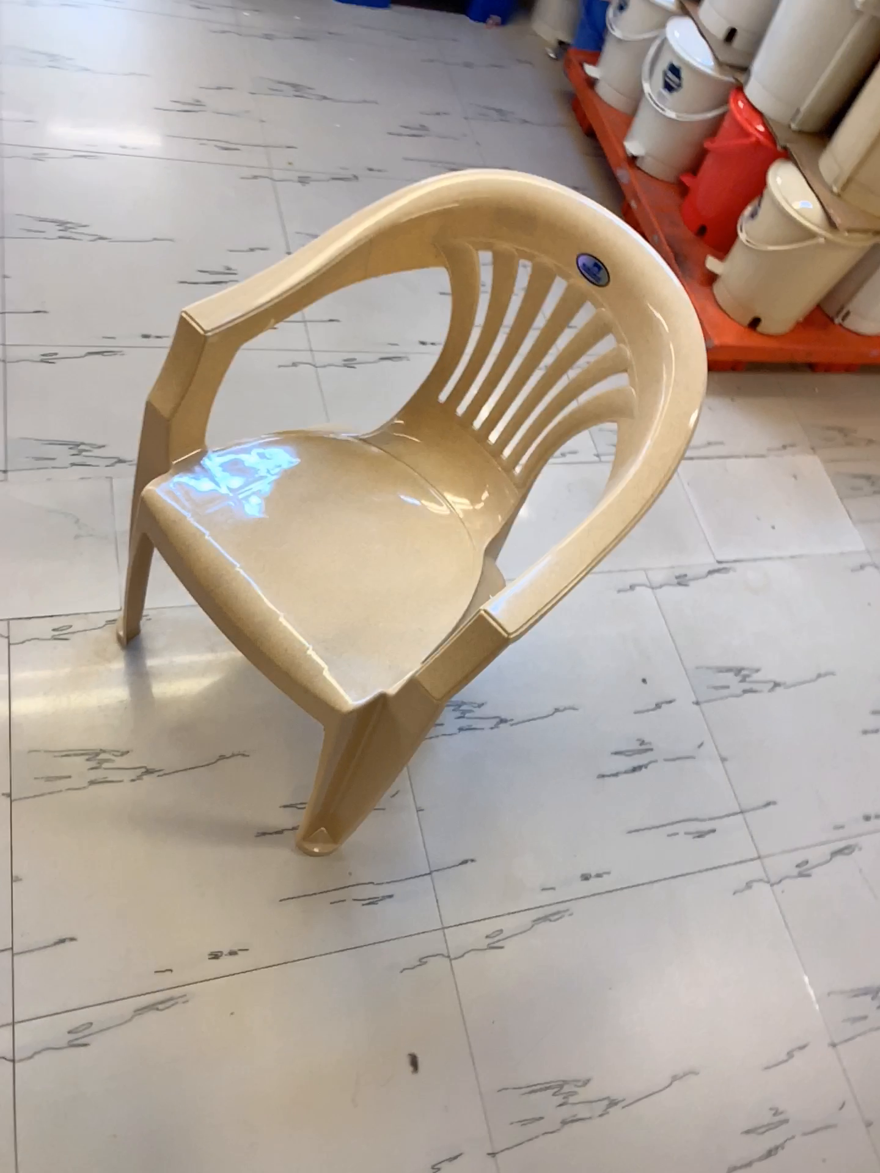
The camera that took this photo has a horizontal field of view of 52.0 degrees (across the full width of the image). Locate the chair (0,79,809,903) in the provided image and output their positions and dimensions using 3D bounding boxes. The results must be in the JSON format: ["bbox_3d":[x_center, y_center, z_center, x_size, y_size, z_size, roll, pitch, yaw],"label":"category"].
[{"bbox_3d":[-0.094,-0.095,1.215,0.633,0.745,0.571,-36,75,-32],"label":"chair"}]
